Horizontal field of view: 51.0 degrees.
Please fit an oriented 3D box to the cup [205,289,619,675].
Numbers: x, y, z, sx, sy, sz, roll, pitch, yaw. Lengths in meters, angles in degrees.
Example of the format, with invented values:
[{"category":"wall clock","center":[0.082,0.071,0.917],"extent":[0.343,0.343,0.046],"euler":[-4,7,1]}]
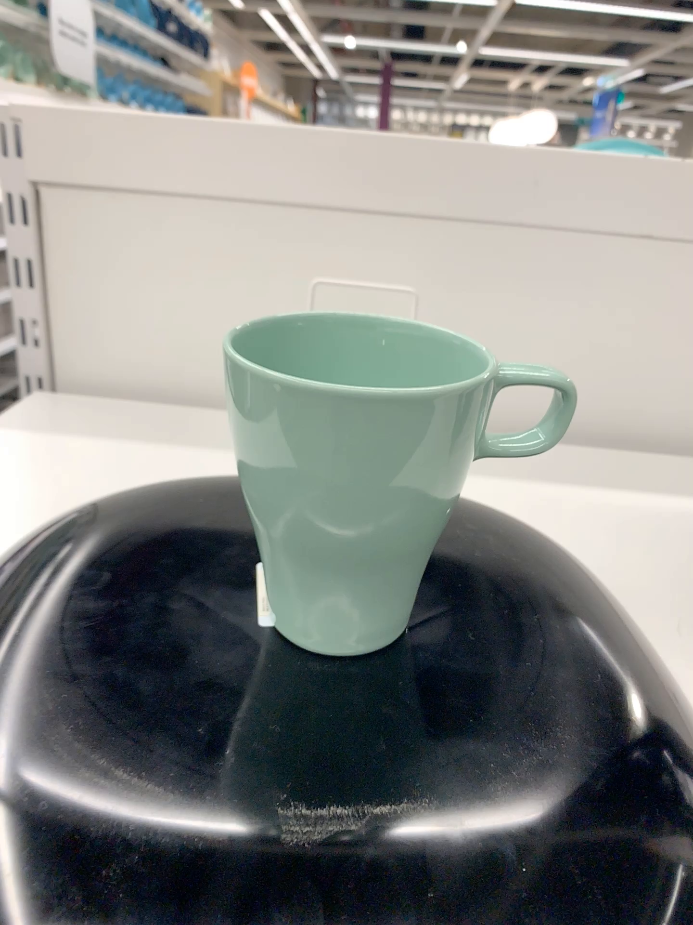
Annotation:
[{"category":"cup","center":[0.012,0.000,0.249],"extent":[0.110,0.100,0.080],"euler":[-2,23,-17]}]
